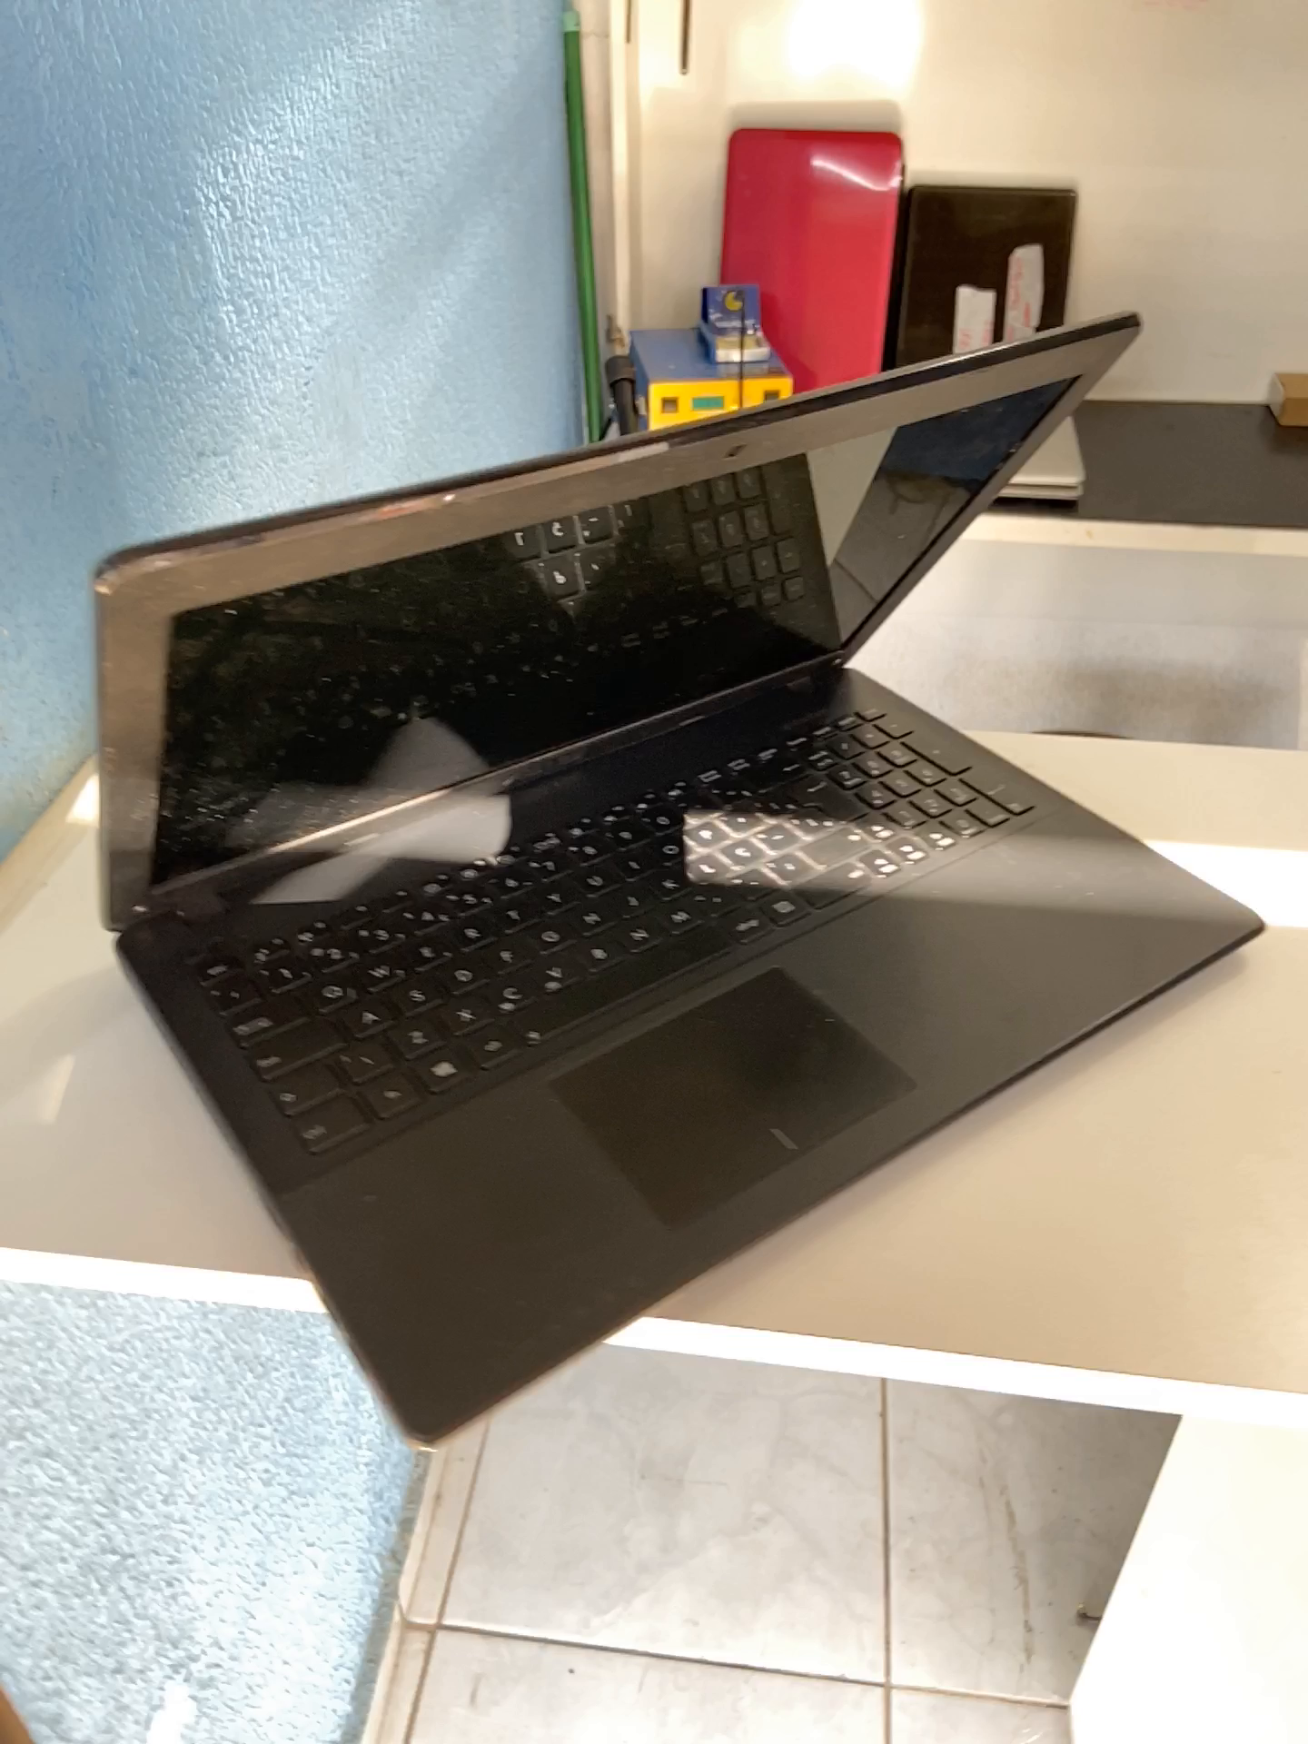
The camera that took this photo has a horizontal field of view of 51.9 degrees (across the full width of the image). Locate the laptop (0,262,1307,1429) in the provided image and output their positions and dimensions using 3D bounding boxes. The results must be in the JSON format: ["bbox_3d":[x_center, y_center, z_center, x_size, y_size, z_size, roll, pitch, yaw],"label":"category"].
[{"bbox_3d":[0.021,-0.056,0.462,0.374,0.190,0.239,-23,42,-28],"label":"laptop"}]
